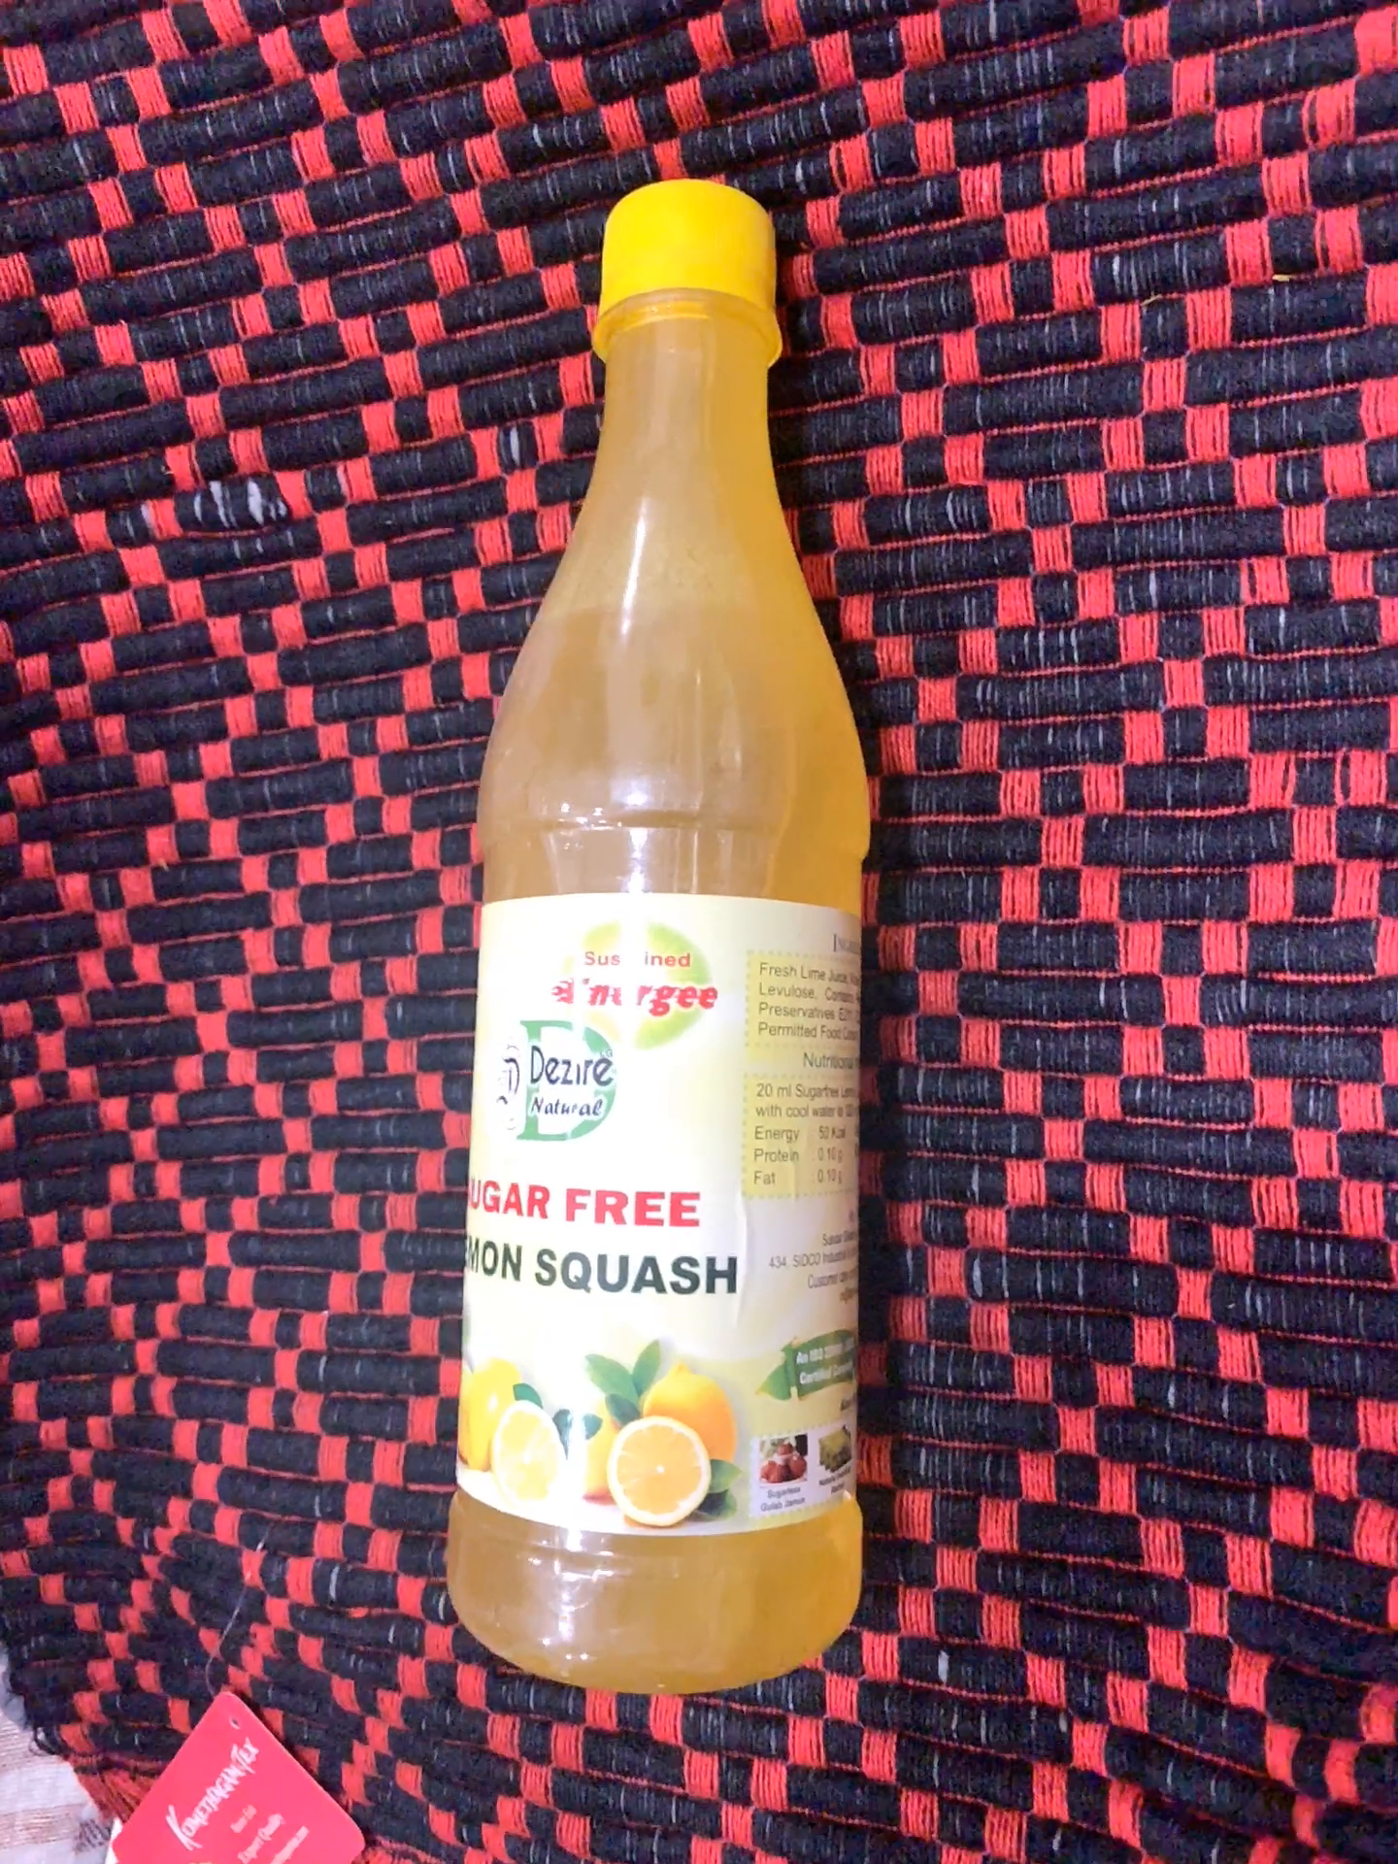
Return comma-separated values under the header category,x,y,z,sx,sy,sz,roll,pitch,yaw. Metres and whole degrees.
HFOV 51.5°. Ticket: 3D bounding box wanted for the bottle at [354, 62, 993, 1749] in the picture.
category,x,y,z,sx,sy,sz,roll,pitch,yaw
bottle,0.003,-0.009,0.234,0.070,0.060,0.230,0,79,23
